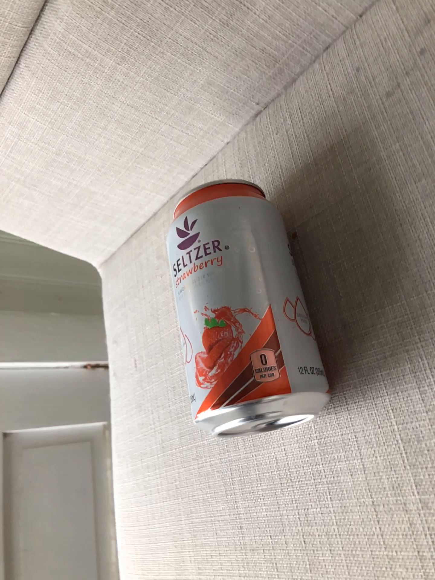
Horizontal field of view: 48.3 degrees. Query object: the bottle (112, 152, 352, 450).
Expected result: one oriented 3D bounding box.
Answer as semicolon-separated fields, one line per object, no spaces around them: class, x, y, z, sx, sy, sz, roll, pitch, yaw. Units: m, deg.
bottle;0.002;0.009;0.245;0.070;0.070;0.120;-32;61;42
